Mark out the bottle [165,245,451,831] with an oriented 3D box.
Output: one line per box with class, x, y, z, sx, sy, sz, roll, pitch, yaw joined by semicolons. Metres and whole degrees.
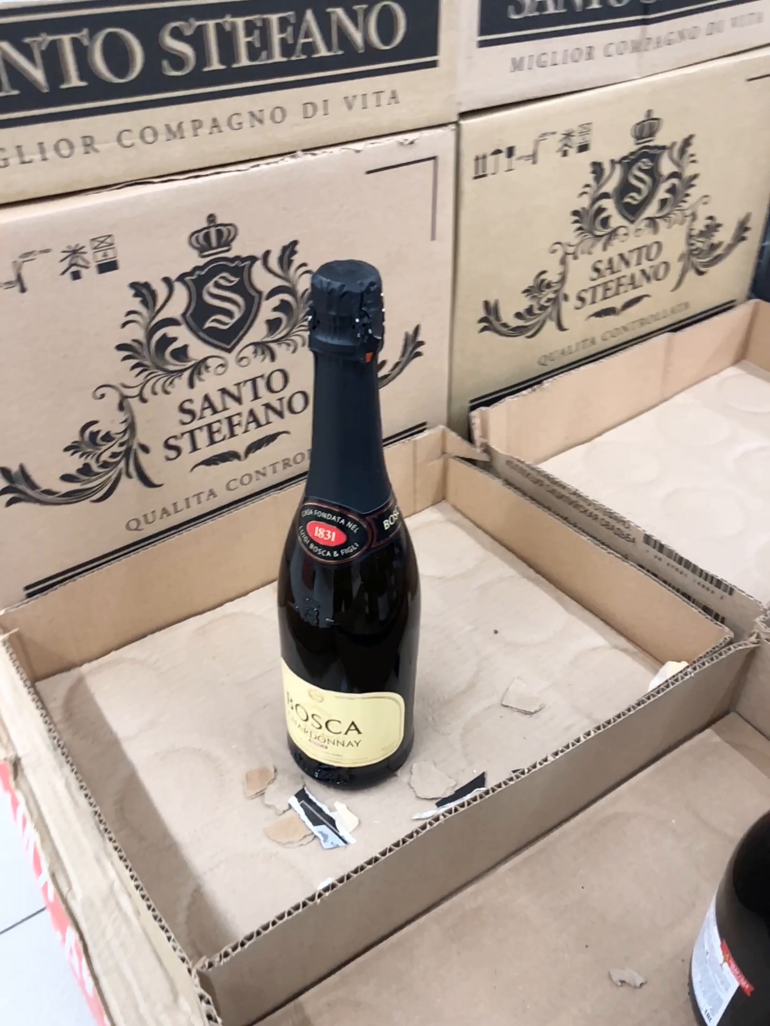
bottle;-0.027;0.030;0.450;0.090;0.308;0.080;19;42;24
